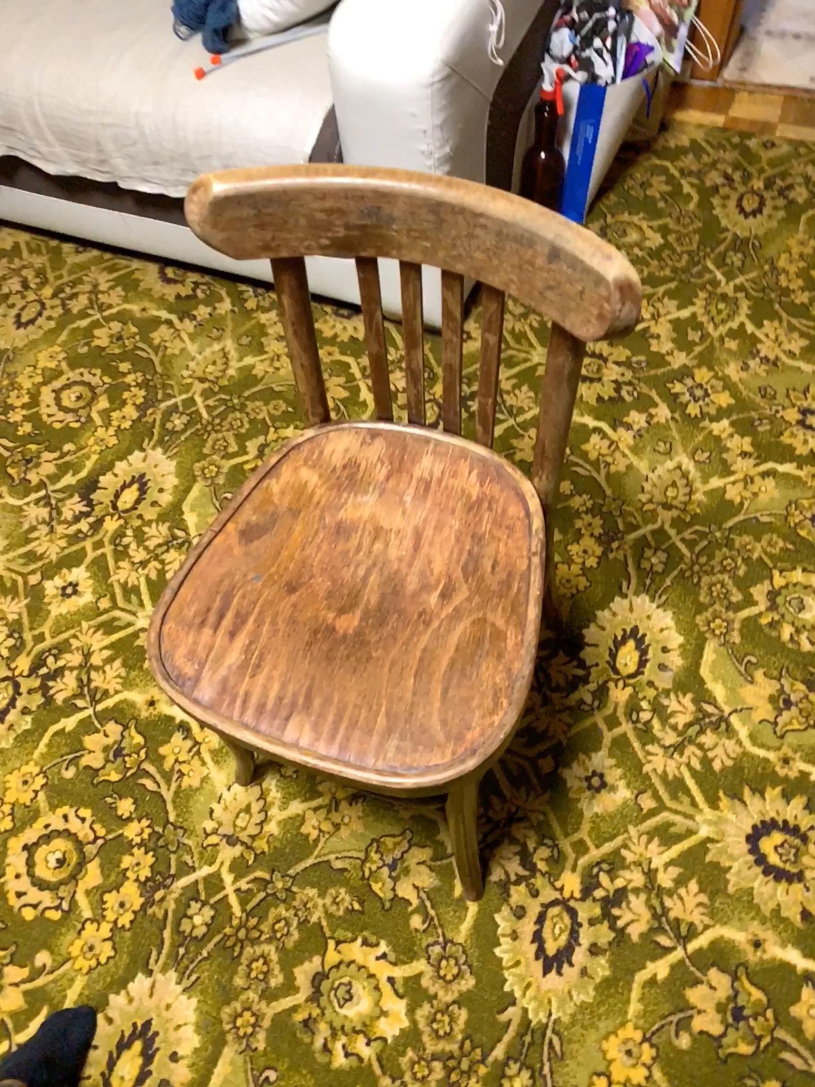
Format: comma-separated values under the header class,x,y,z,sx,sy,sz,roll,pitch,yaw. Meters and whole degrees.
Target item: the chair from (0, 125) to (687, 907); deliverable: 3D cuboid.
class,x,y,z,sx,sy,sz,roll,pitch,yaw
chair,-0.030,0.051,0.889,0.400,0.736,0.412,20,64,16
